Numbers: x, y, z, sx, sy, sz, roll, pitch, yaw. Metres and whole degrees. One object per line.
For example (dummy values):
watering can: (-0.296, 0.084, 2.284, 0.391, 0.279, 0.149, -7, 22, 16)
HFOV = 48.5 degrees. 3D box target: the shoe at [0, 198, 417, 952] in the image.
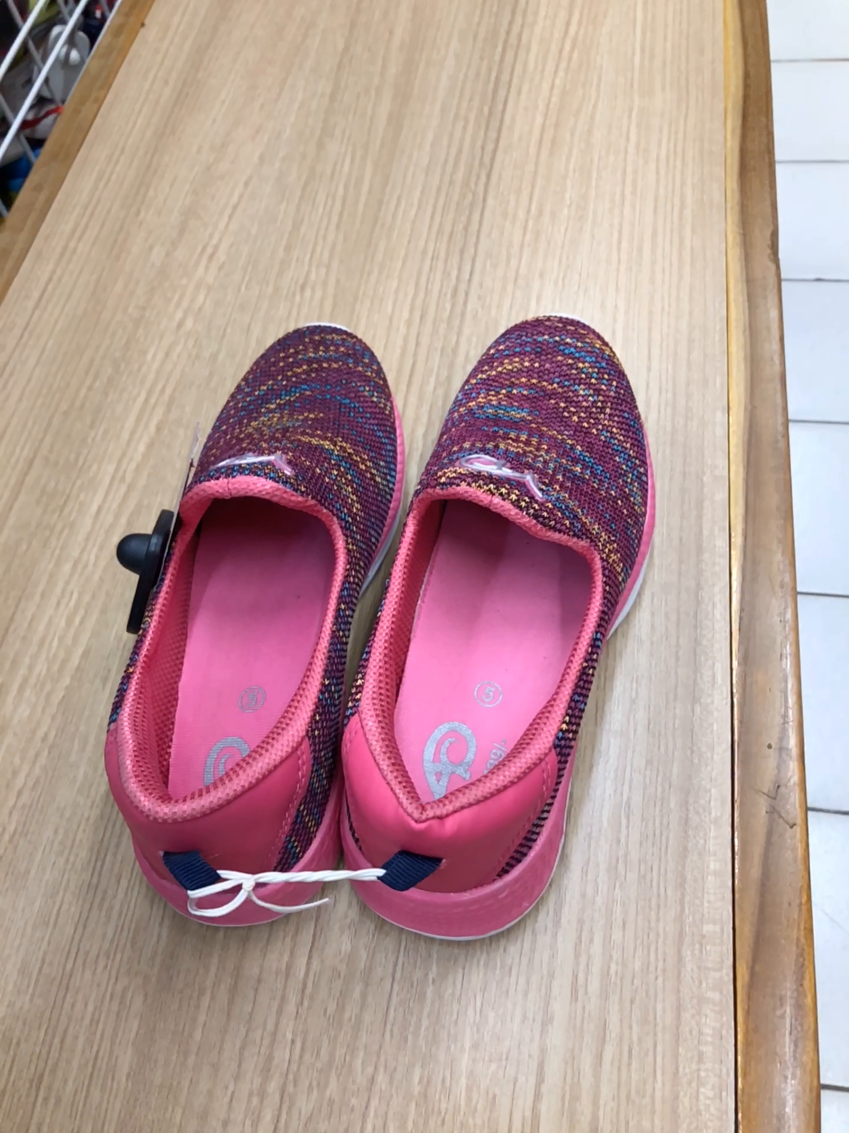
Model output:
shoe: (-0.074, -0.005, 0.338, 0.104, 0.103, 0.245, 1, 60, 9)

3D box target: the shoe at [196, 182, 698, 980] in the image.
shoe: (0.026, -0.005, 0.324, 0.104, 0.103, 0.245, 7, 61, 12)
